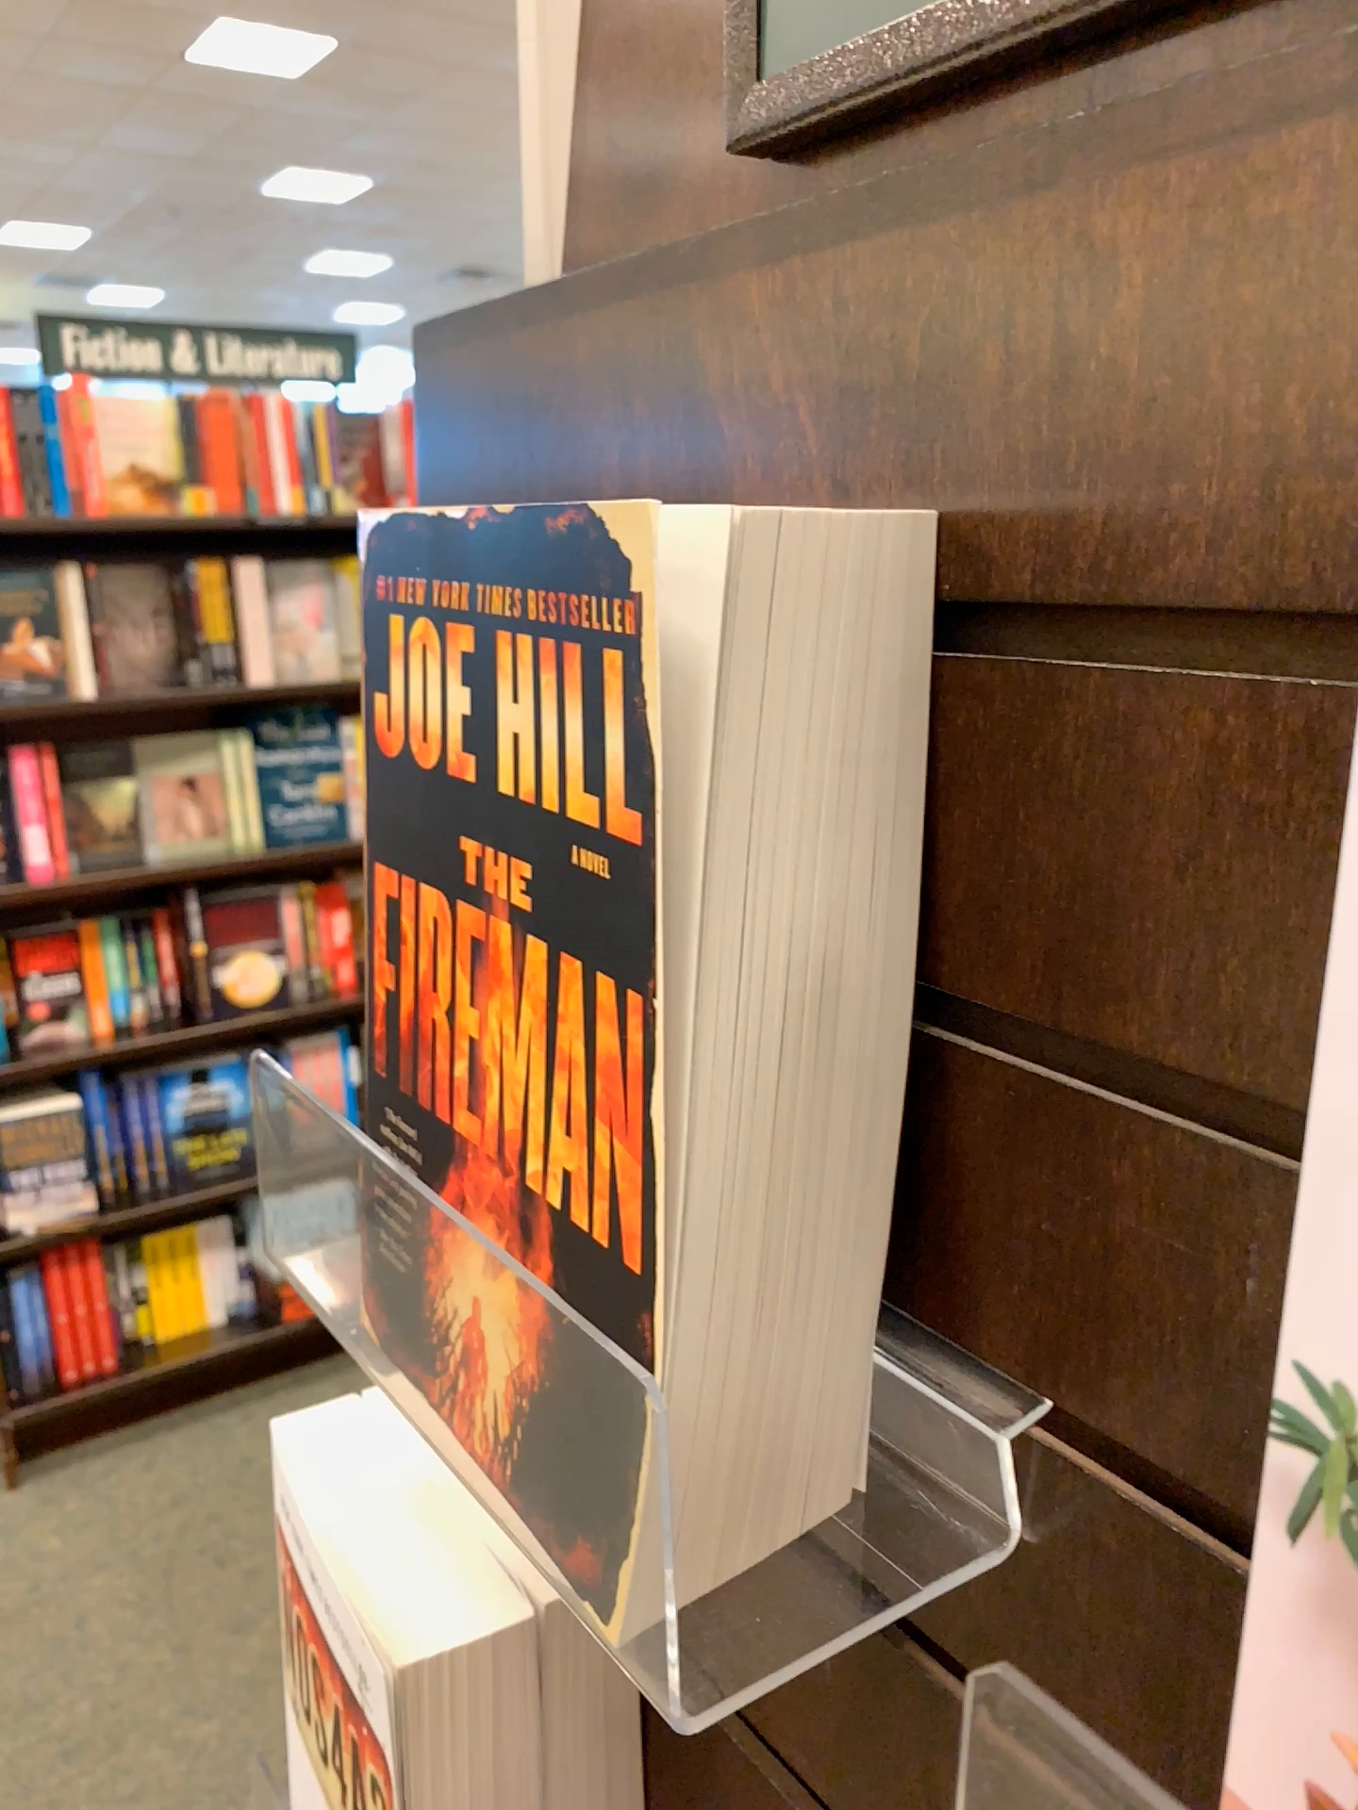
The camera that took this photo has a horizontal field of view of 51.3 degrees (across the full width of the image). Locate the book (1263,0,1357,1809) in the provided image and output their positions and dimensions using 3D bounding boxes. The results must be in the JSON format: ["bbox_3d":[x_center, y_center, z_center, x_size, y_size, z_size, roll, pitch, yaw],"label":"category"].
[{"bbox_3d":[0.140,0.050,0.106,0.026,0.208,0.188,-3,13,-24],"label":"book"}]

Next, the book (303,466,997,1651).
[{"bbox_3d":[-0.019,0.015,0.300,0.069,0.194,0.147,-6,14,-34],"label":"book"}]

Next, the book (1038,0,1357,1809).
[{"bbox_3d":[0.105,0.053,0.098,0.026,0.208,0.188,-3,13,-24],"label":"book"}]
